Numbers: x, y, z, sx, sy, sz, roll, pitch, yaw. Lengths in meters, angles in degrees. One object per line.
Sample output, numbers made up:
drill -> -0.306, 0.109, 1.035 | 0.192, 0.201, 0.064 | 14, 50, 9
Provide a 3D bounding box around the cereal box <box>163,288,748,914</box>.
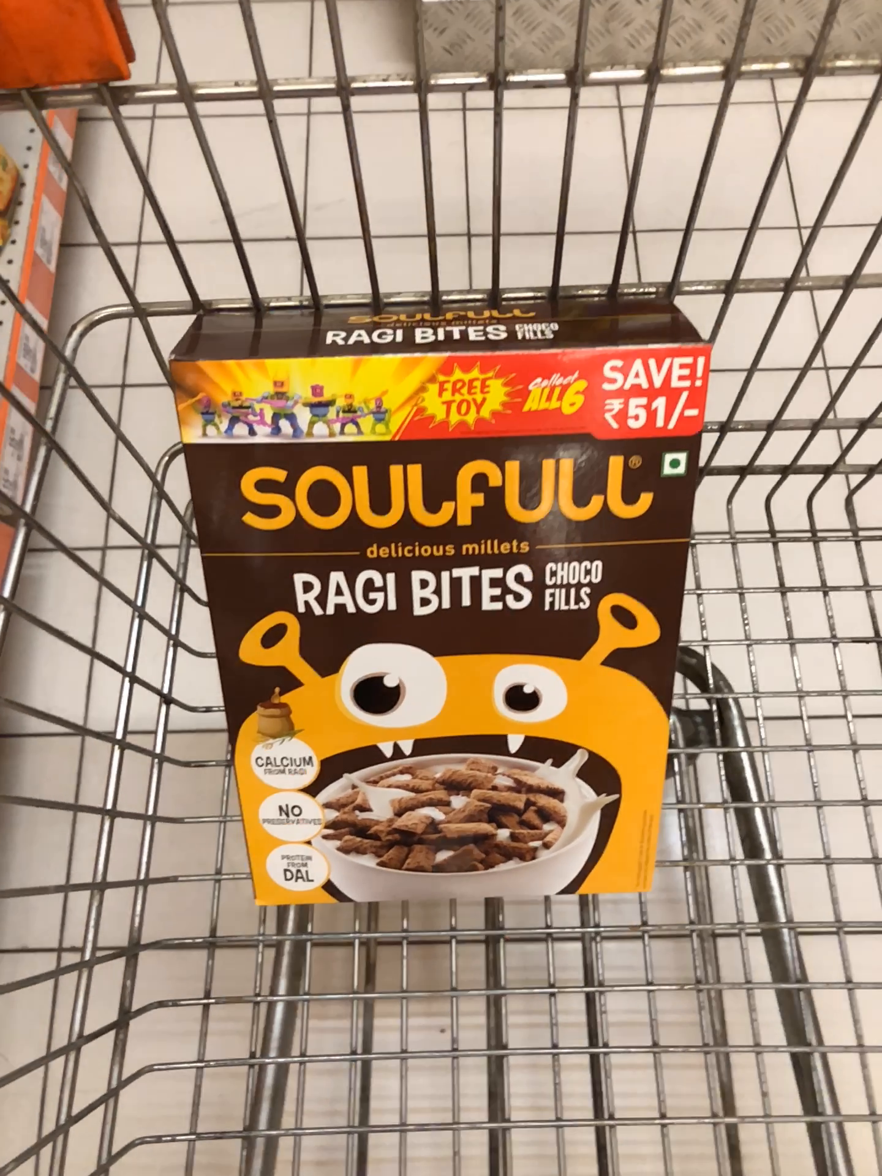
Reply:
cereal box -> 0.007, 0.016, 0.410 | 0.190, 0.259, 0.070 | -1, 29, 1
